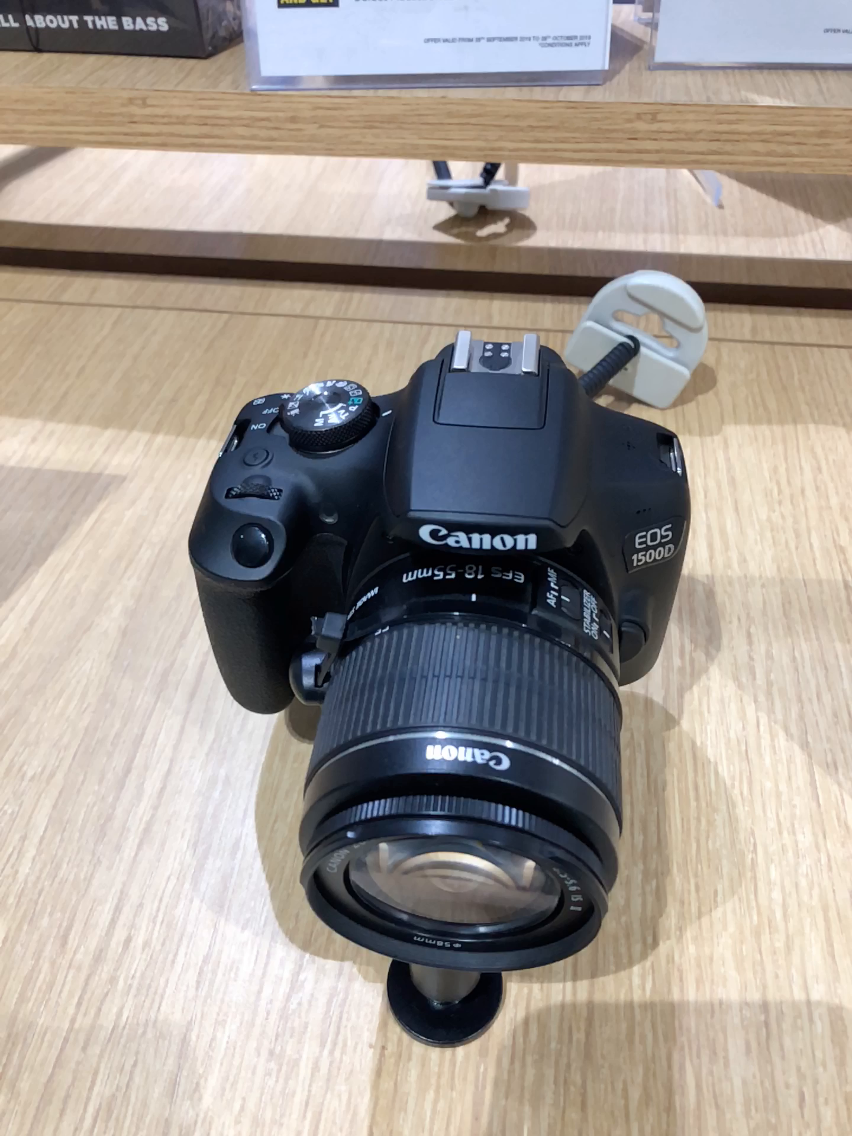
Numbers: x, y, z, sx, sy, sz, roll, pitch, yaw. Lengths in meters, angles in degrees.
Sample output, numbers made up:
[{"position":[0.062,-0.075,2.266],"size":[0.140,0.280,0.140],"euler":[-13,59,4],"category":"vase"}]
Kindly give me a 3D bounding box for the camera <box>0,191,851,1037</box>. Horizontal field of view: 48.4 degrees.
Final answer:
[{"position":[0.007,-0.006,0.238],"size":[0.140,0.099,0.191],"euler":[2,43,4],"category":"camera"}]
